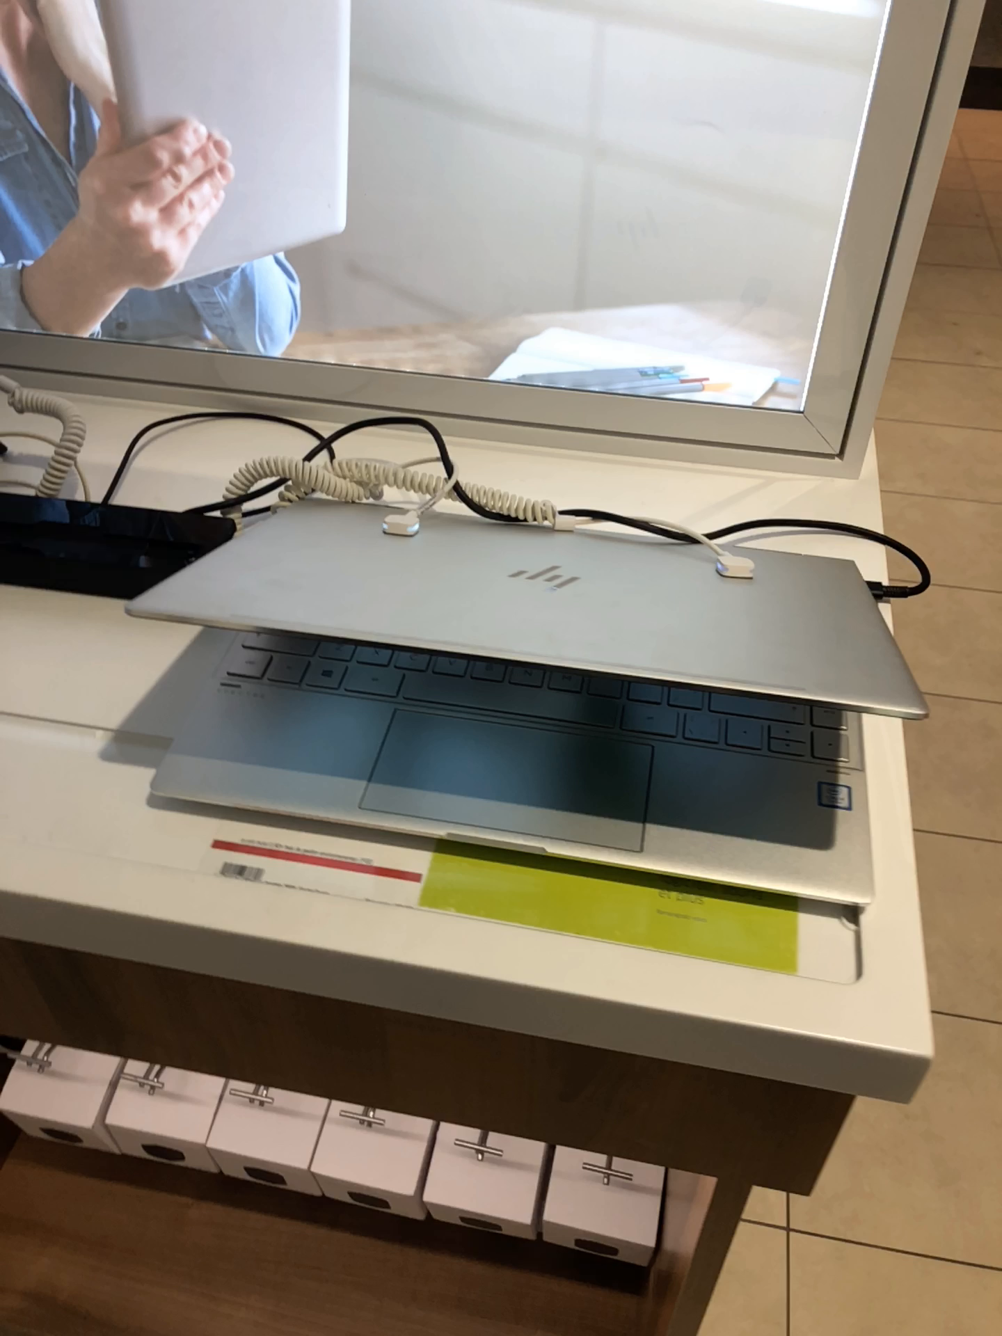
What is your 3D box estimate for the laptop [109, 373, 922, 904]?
[{"bbox_3d":[0.017,-0.030,0.499,0.298,0.078,0.212,8,44,8],"label":"laptop"}]
